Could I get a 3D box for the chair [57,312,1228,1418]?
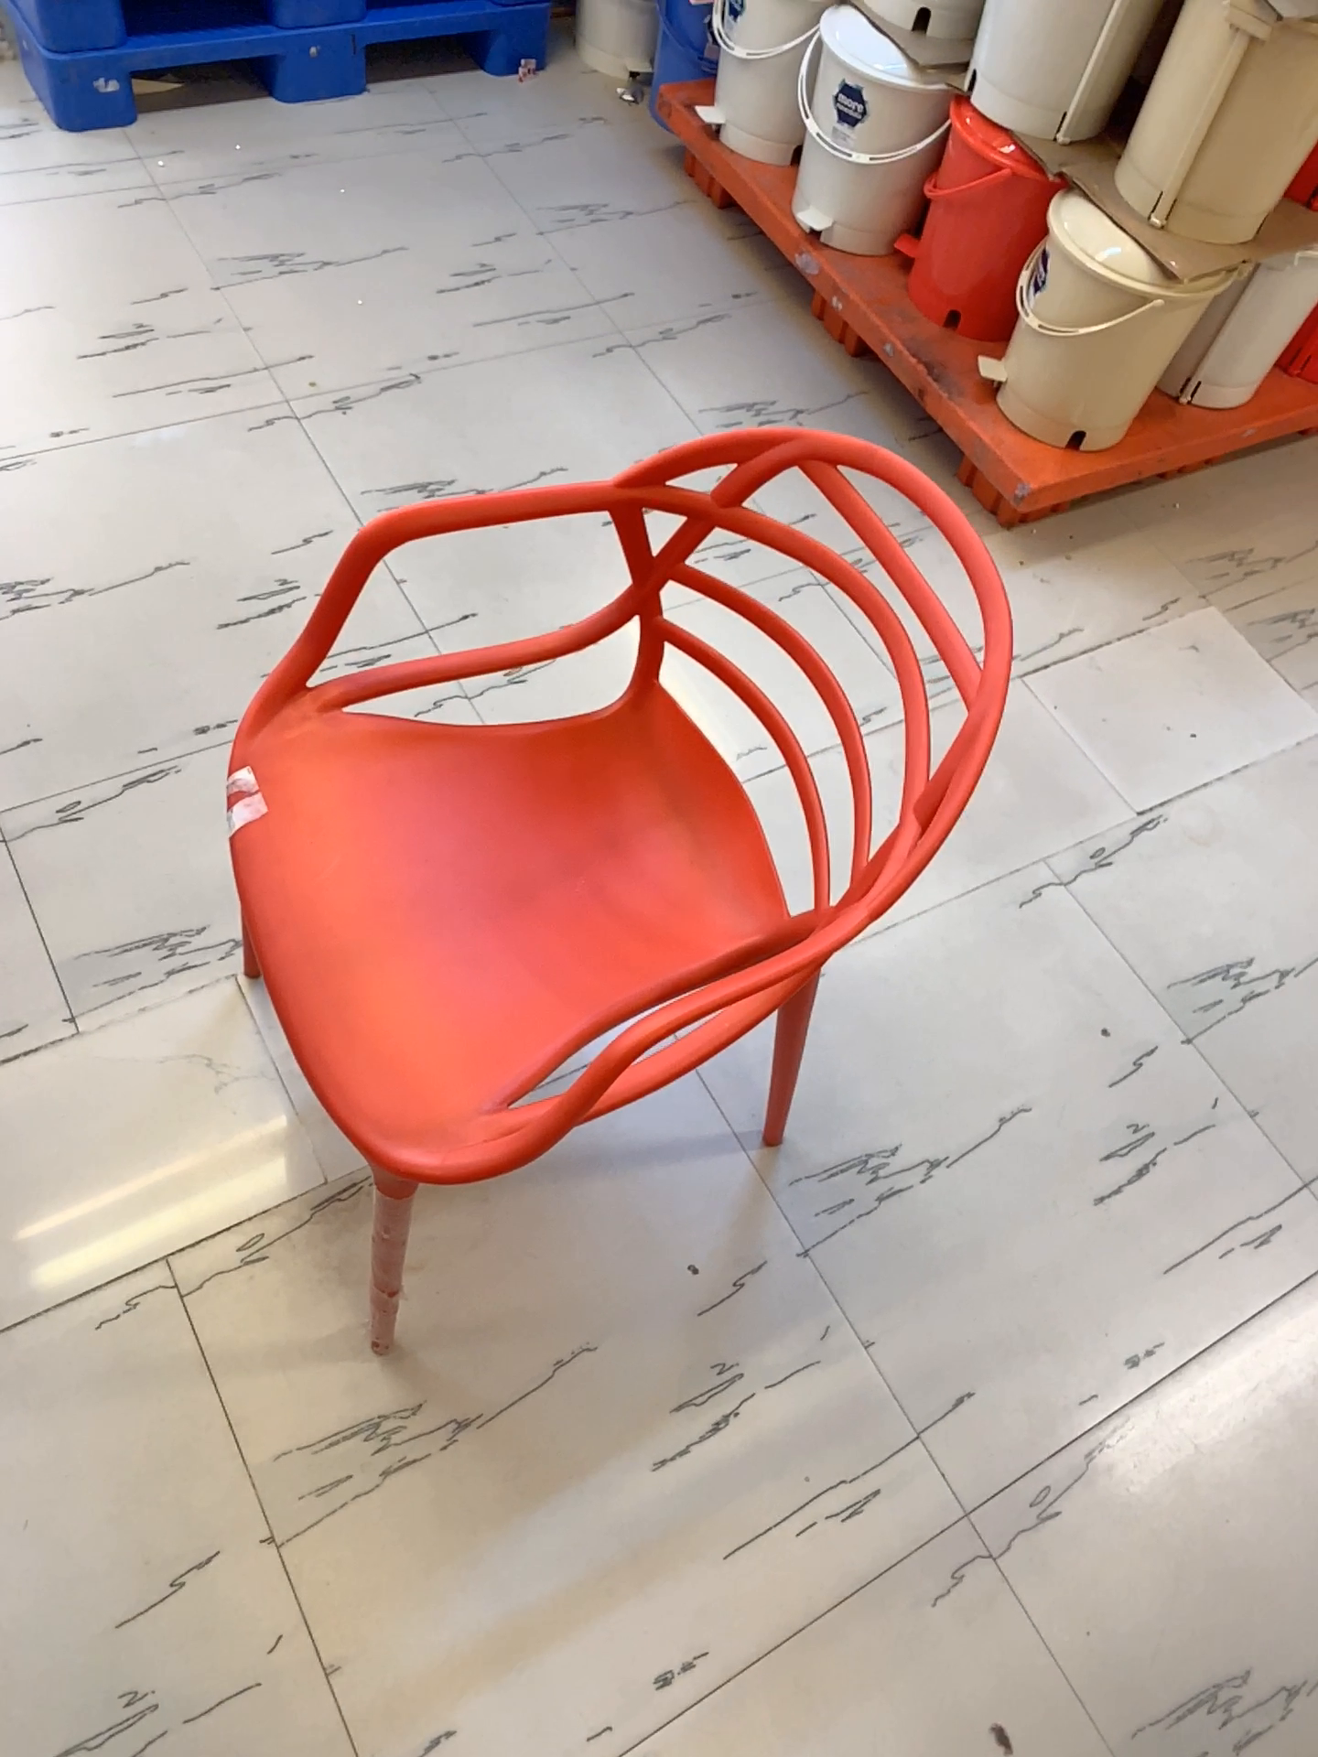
[{"bbox_3d":[-0.069,0.000,1.182,0.631,0.656,0.552,-17,62,-21],"label":"chair"}]
